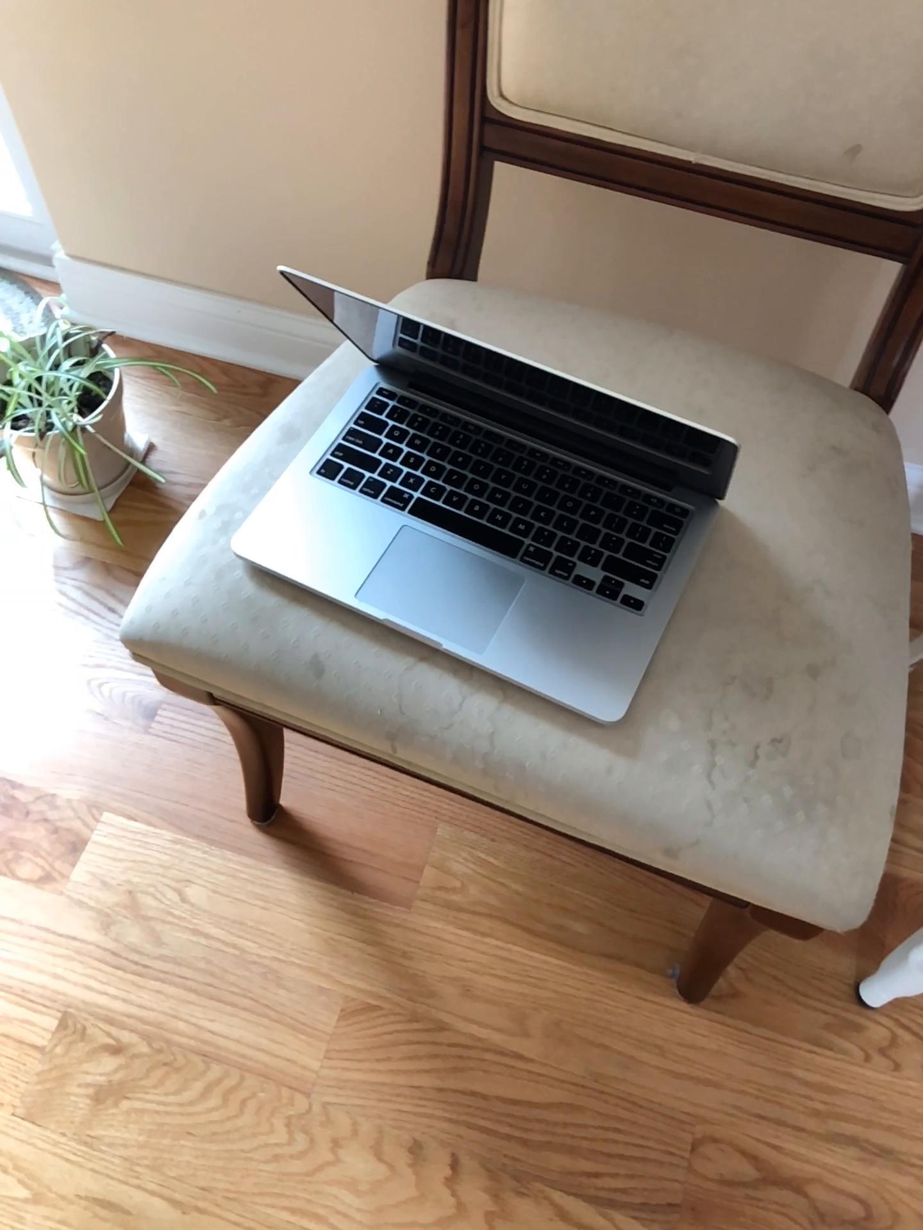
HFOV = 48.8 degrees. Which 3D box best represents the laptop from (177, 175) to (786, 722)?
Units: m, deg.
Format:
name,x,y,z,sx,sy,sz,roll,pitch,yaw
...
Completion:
name,x,y,z,sx,sy,sz,roll,pitch,yaw
laptop,0.017,-0.118,0.696,0.309,0.183,0.218,24,59,13
